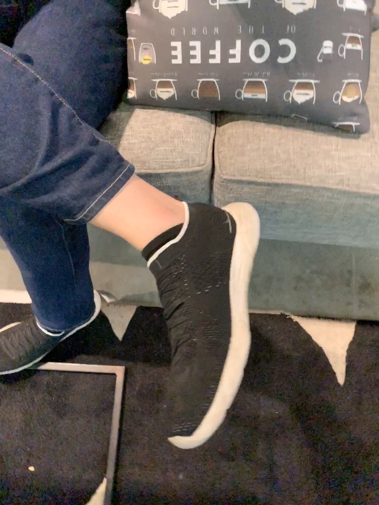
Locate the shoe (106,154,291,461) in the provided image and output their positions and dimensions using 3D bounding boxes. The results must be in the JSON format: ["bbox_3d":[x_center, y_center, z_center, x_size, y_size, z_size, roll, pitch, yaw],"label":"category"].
[{"bbox_3d":[0.012,0.052,0.405,0.132,0.112,0.276,13,58,-11],"label":"shoe"}]

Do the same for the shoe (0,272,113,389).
[{"bbox_3d":[-0.345,0.177,0.889,0.303,0.074,0.116,-29,73,-8],"label":"shoe"}]
